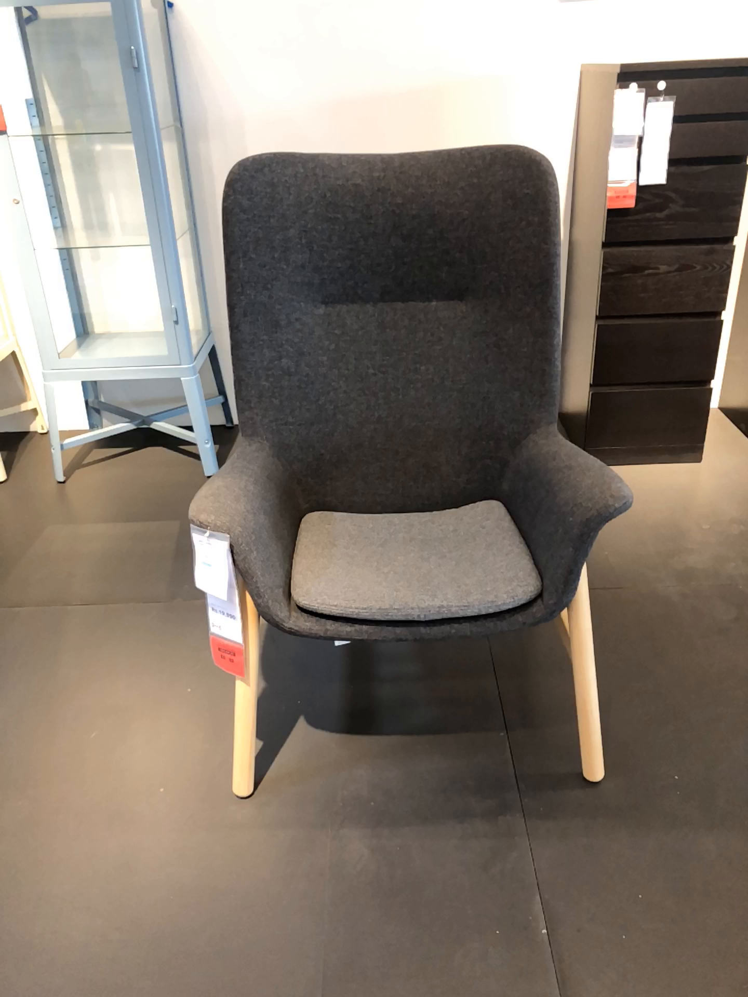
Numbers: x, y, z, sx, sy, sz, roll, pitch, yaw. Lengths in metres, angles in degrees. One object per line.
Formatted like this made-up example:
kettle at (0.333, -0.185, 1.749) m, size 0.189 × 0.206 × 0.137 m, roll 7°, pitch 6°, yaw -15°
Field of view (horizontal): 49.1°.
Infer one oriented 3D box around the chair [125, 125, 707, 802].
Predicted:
chair at (0.069, -0.095, 1.572) m, size 0.720 × 1.063 × 0.714 m, roll -2°, pitch 27°, yaw 1°
